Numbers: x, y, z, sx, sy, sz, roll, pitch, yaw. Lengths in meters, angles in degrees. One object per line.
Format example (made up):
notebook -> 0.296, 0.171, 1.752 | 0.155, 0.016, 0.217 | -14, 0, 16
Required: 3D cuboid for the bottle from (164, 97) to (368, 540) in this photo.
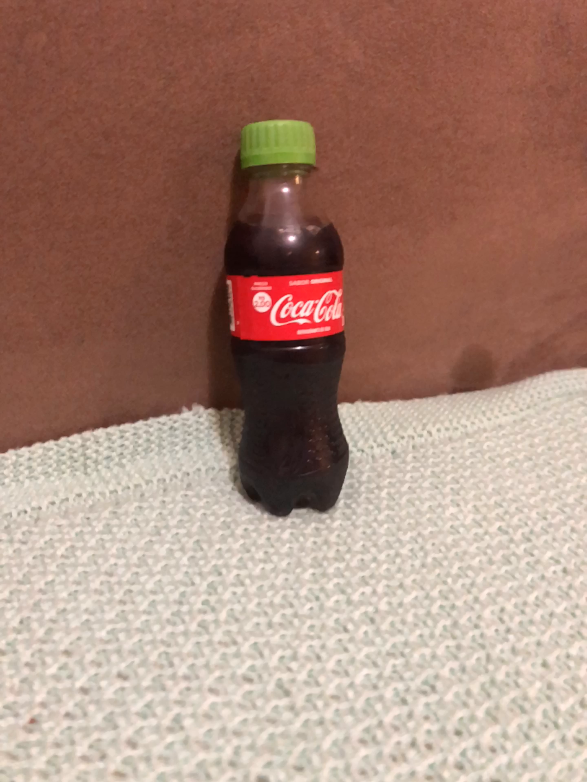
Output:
bottle -> -0.010, -0.032, 0.289 | 0.060, 0.169, 0.060 | -1, 15, 0
